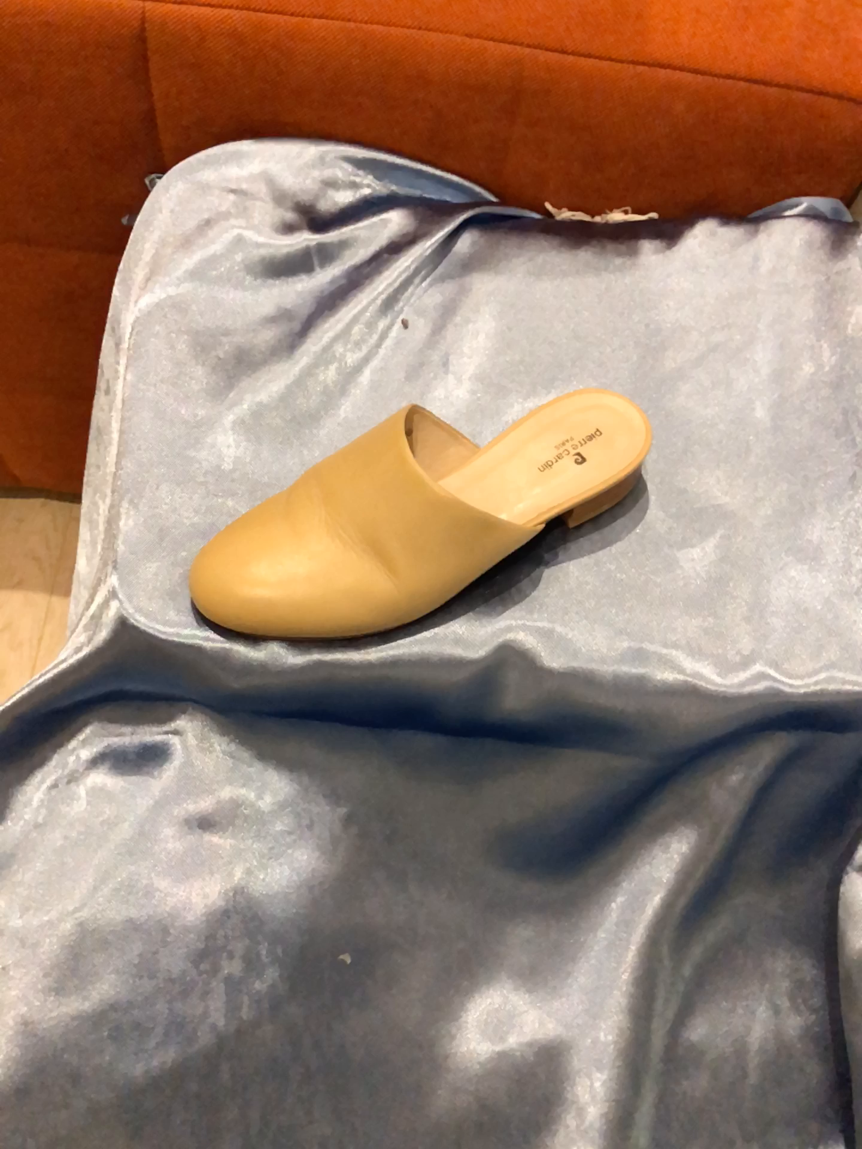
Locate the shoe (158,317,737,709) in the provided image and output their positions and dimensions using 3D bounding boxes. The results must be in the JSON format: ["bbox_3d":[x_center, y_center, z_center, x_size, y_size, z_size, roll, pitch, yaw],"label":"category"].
[{"bbox_3d":[0.011,-0.036,0.474,0.260,0.060,0.095,-22,70,-15],"label":"shoe"}]
